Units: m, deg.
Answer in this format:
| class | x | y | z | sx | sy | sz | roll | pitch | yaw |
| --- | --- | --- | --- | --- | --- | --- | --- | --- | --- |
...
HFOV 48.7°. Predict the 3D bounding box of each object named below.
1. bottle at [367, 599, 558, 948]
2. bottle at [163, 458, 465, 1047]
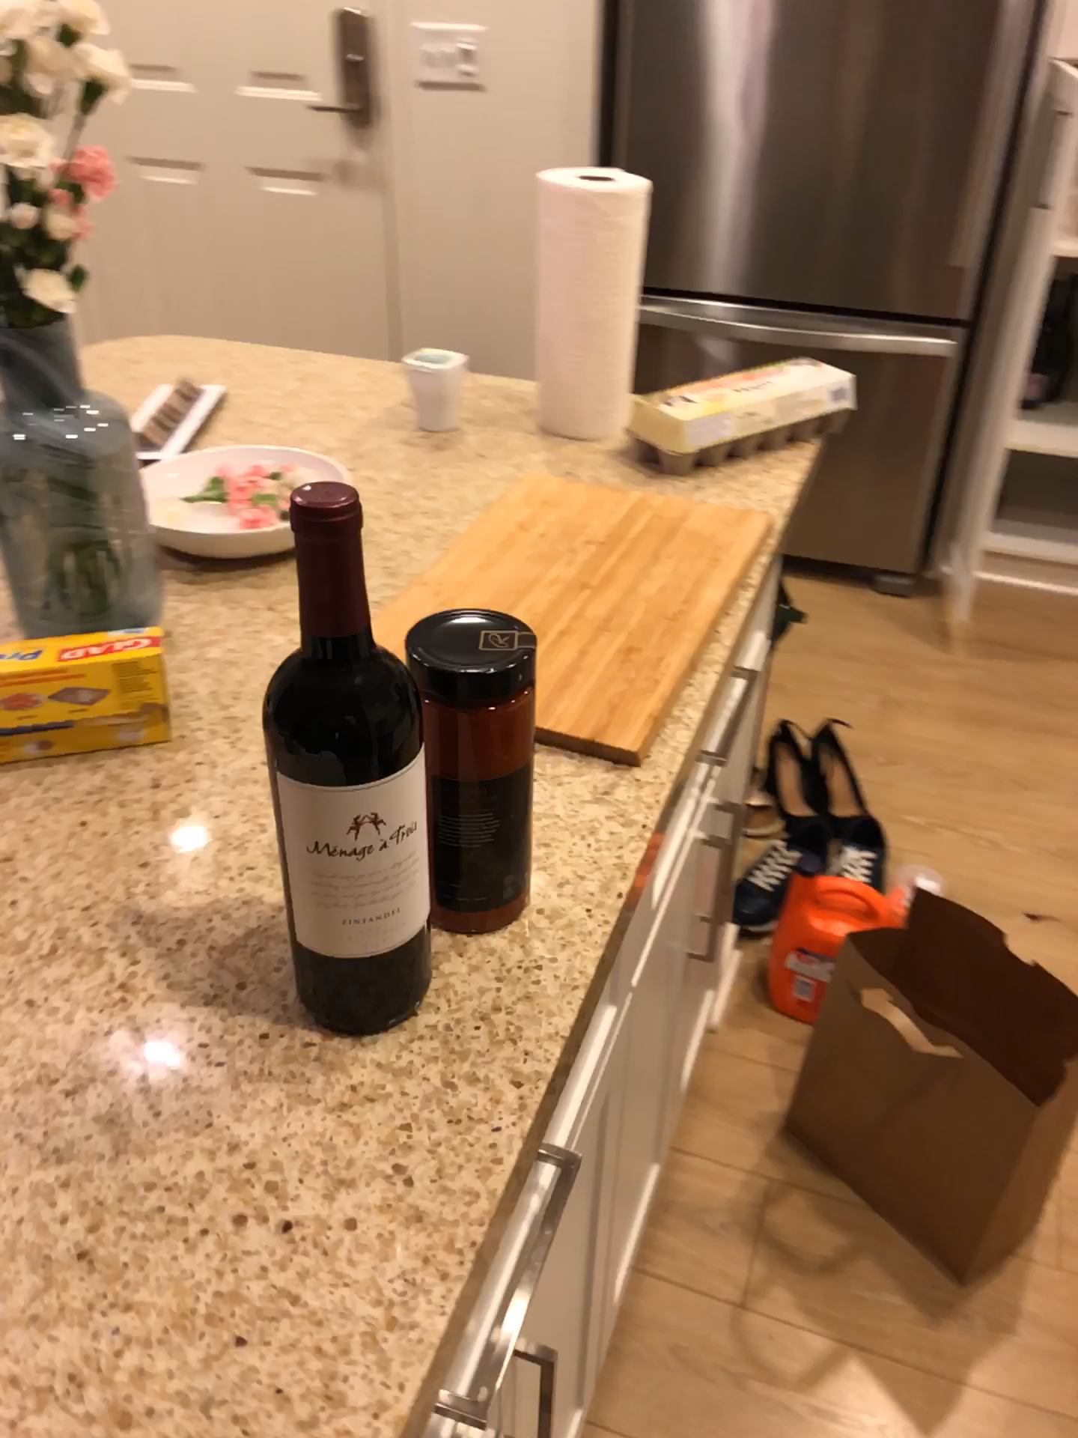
| class | x | y | z | sx | sy | sz | roll | pitch | yaw |
| --- | --- | --- | --- | --- | --- | --- | --- | --- | --- |
| bottle | -0.041 | 0.033 | 0.703 | 0.090 | 0.179 | 0.091 | 1 | 33 | 0 |
| bottle | -0.096 | 0.024 | 0.593 | 0.110 | 0.278 | 0.111 | 1 | 33 | 0 |
